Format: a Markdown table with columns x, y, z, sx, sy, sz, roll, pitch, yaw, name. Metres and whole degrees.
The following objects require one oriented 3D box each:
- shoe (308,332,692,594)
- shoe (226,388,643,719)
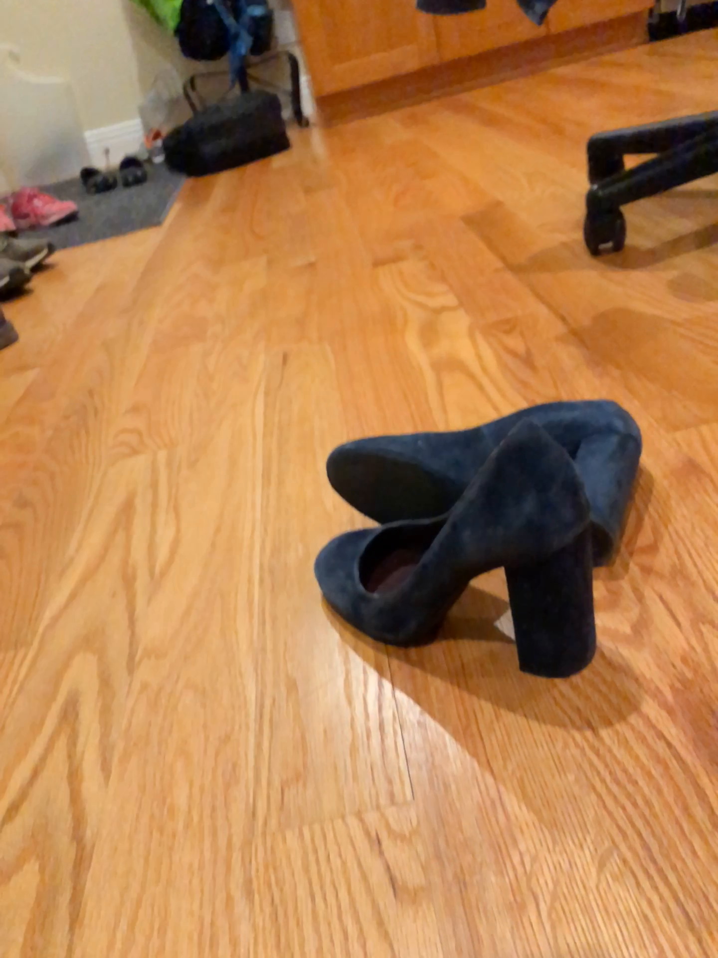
| x | y | z | sx | sy | sz | roll | pitch | yaw | name |
| --- | --- | --- | --- | --- | --- | --- | --- | --- | --- |
| 0.098 | -0.023 | 0.533 | 0.205 | 0.089 | 0.140 | 7 | 44 | 33 | shoe |
| 0.045 | 0.031 | 0.447 | 0.195 | 0.128 | 0.090 | 7 | 37 | 33 | shoe |
